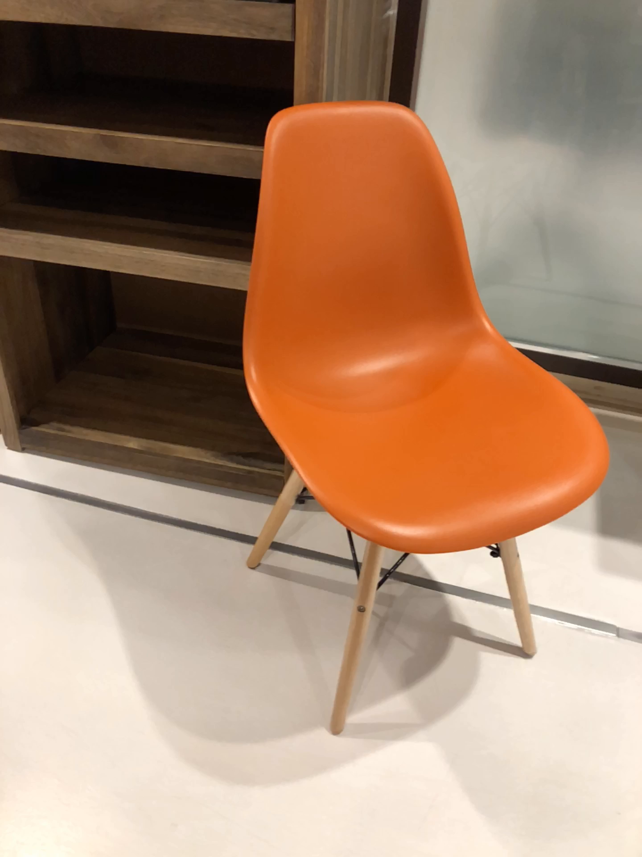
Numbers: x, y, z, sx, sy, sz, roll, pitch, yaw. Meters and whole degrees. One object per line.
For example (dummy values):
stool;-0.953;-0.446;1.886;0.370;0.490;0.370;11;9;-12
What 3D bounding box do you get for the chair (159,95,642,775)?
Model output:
chair;0.100;-0.035;1.070;0.491;0.744;0.583;-13;38;-22
